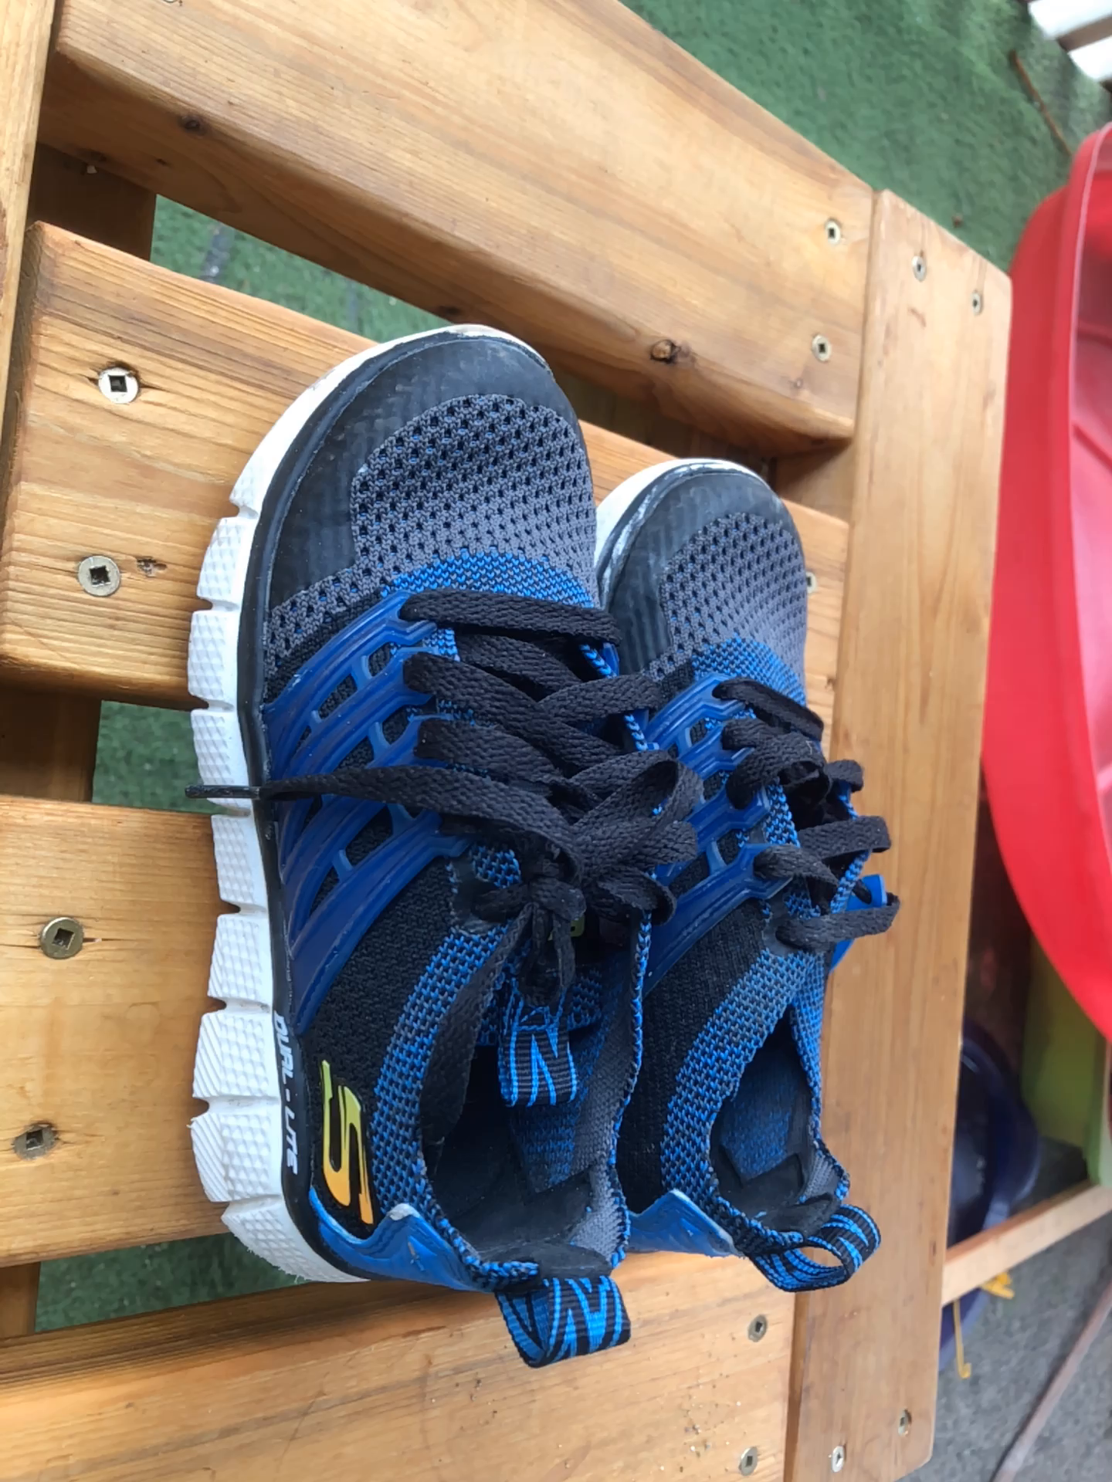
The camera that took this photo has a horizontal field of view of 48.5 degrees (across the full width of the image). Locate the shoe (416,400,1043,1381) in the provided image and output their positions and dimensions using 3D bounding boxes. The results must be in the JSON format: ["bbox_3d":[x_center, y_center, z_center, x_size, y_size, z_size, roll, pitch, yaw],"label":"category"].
[{"bbox_3d":[0.042,0.031,0.302,0.080,0.100,0.190,14,82,-41],"label":"shoe"}]

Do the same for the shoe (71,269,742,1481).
[{"bbox_3d":[-0.033,0.024,0.264,0.080,0.100,0.200,8,86,-41],"label":"shoe"}]
